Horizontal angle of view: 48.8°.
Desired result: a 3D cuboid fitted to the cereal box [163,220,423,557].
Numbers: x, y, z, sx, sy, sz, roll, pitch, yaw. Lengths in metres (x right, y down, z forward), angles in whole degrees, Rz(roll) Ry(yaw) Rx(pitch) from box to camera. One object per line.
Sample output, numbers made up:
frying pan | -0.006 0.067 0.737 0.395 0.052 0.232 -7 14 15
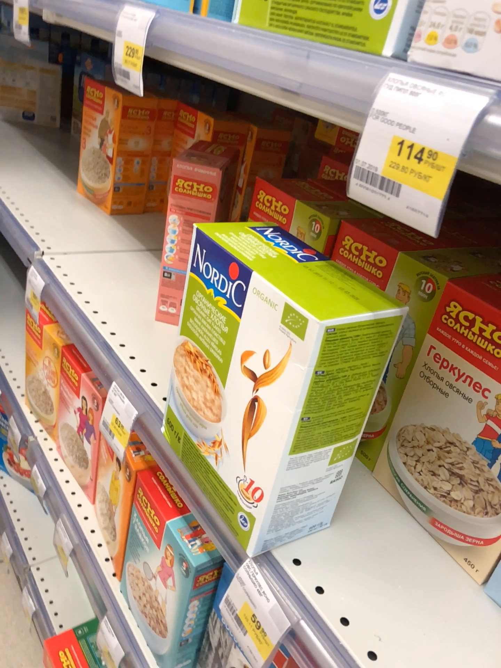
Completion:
cereal box | 0.015 0.032 0.415 0.080 0.189 0.151 -8 34 -35
